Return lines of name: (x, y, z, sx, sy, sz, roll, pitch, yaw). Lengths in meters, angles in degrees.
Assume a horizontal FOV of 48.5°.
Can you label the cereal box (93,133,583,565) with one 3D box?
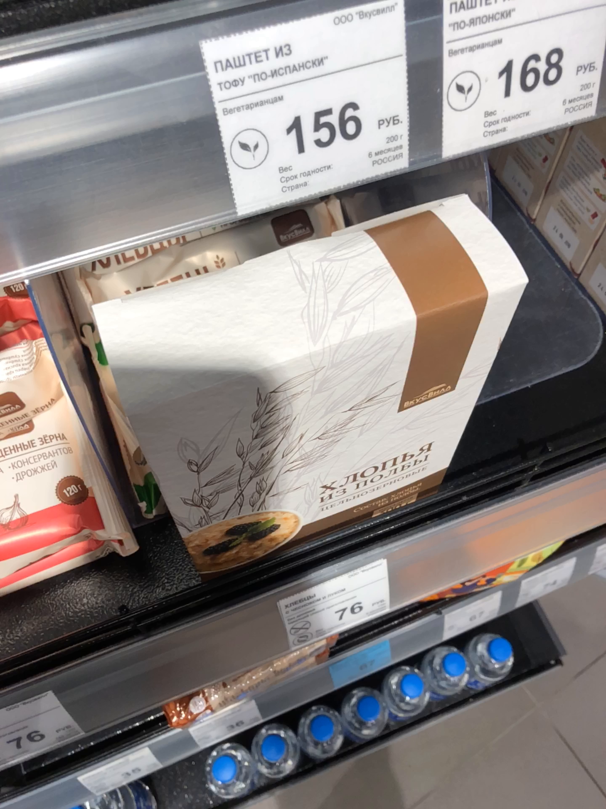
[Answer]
cereal box: (0.012, -0.006, 0.298, 0.150, 0.189, 0.050, -18, 61, -10)
